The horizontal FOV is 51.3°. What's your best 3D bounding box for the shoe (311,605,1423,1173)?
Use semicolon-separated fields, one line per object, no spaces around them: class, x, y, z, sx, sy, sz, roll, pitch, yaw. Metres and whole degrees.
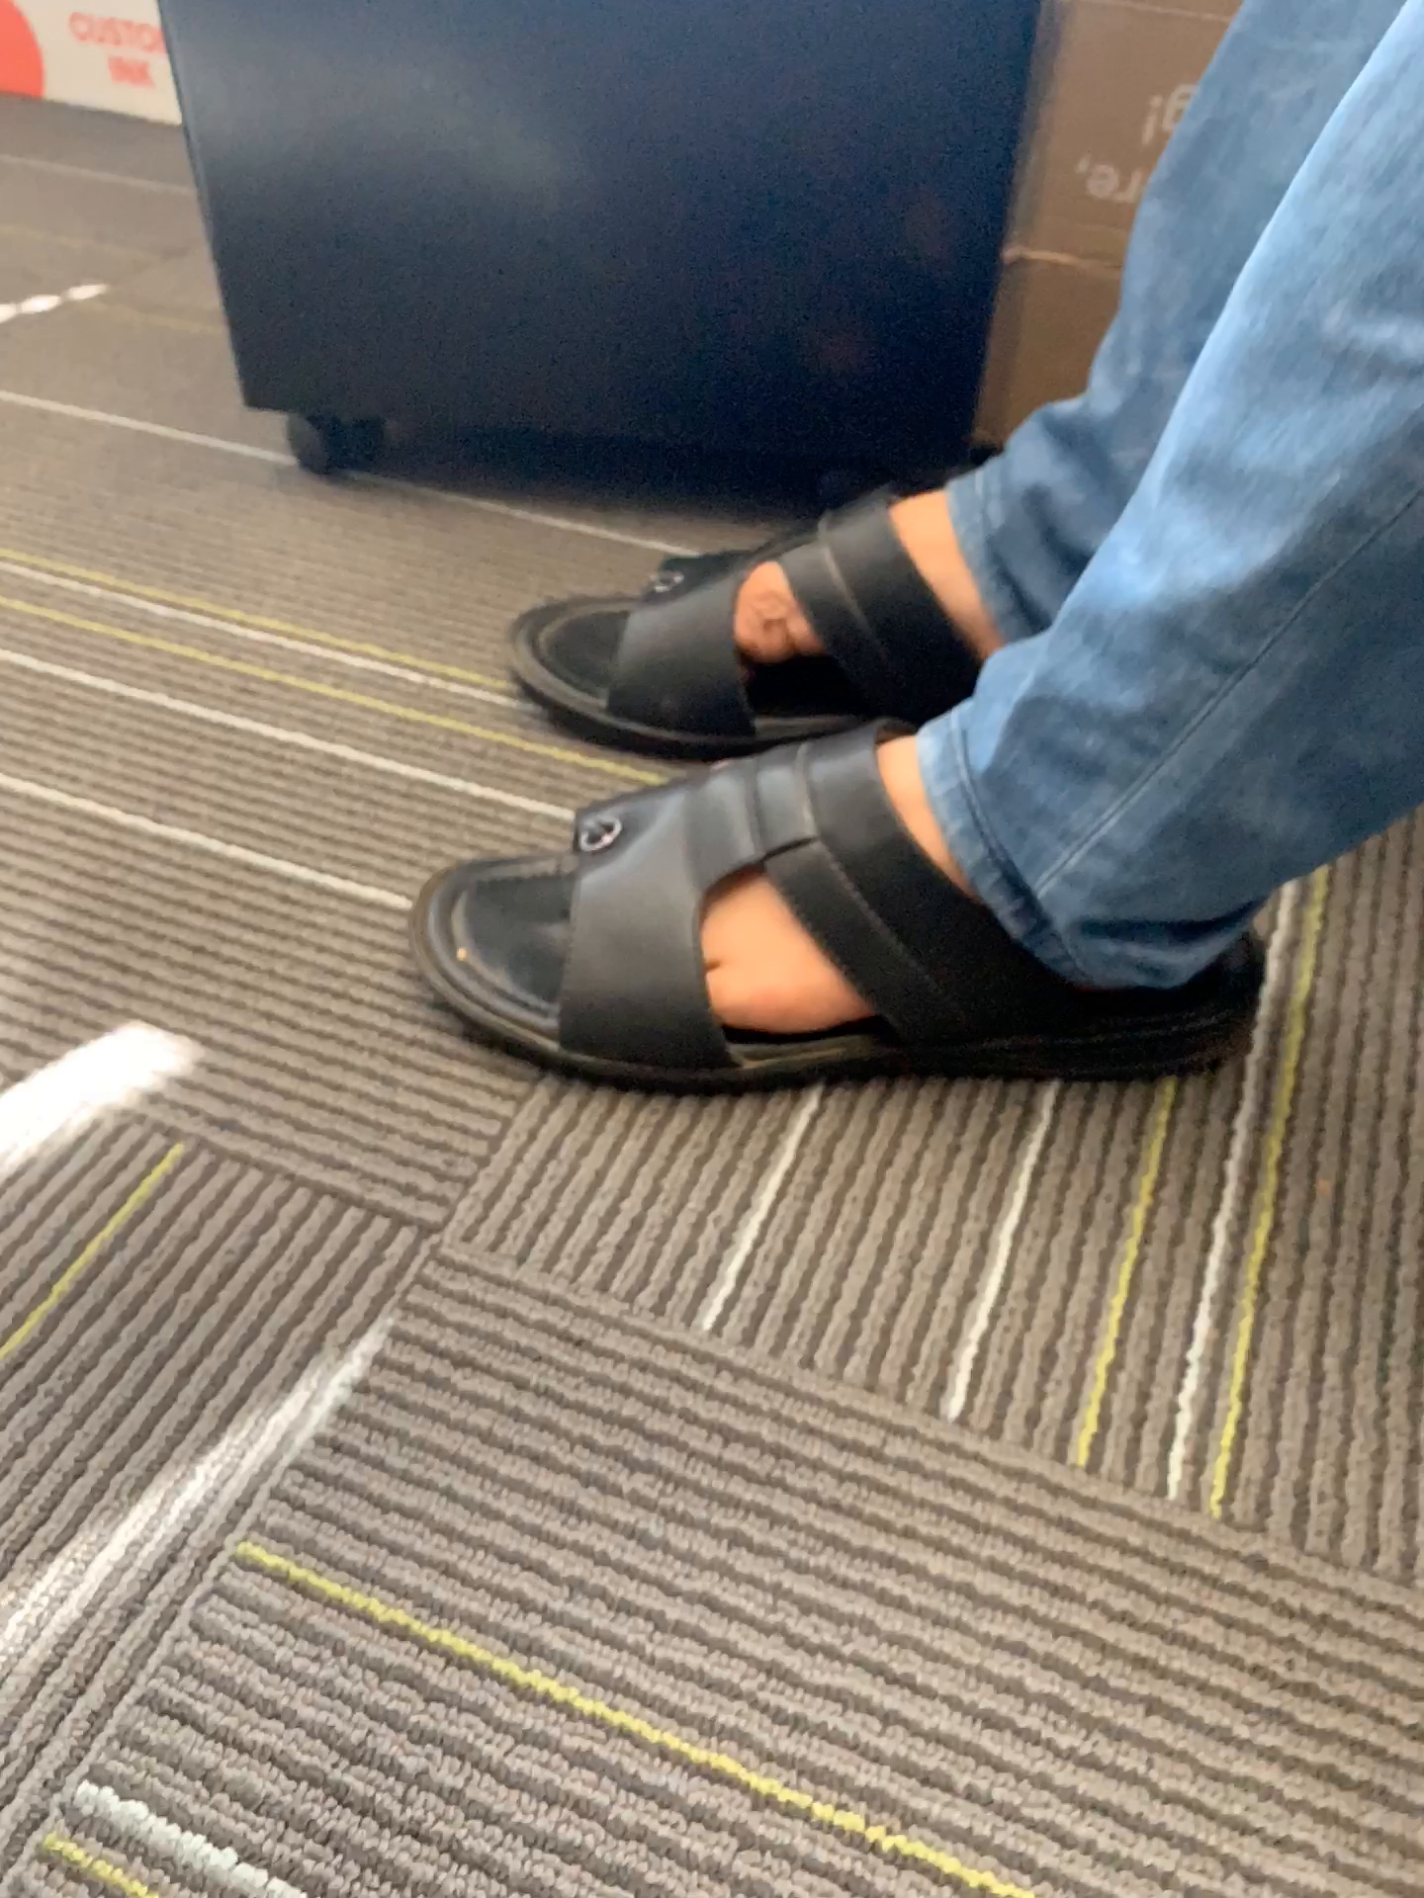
shoe;0.047;-0.022;0.498;0.316;0.115;0.119;5;44;3

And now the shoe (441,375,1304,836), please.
shoe;0.062;-0.148;0.625;0.316;0.115;0.119;7;44;5
